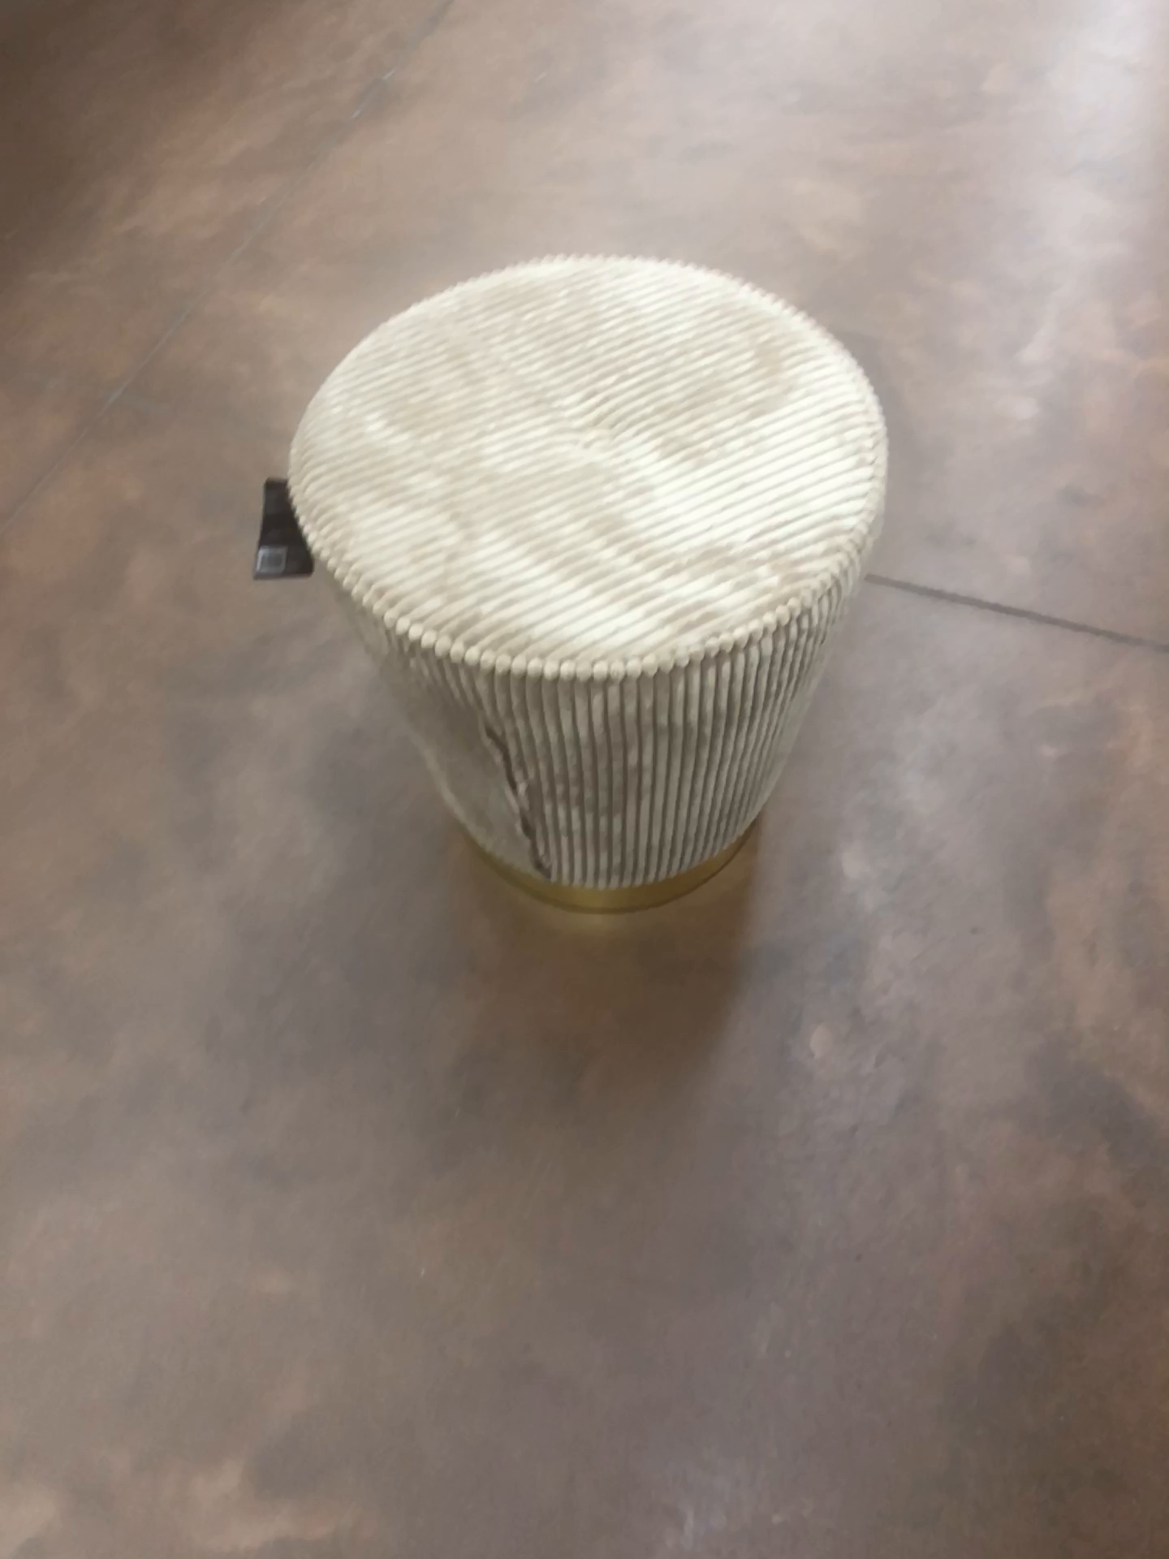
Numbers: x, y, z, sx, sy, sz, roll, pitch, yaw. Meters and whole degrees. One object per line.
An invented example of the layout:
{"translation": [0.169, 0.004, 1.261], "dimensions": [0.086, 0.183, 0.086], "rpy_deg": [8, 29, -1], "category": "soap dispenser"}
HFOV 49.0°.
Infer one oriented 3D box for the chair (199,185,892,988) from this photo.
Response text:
{"translation": [0.005, -0.149, 1.093], "dimensions": [0.420, 0.479, 0.451], "rpy_deg": [4, 56, 5], "category": "chair"}
